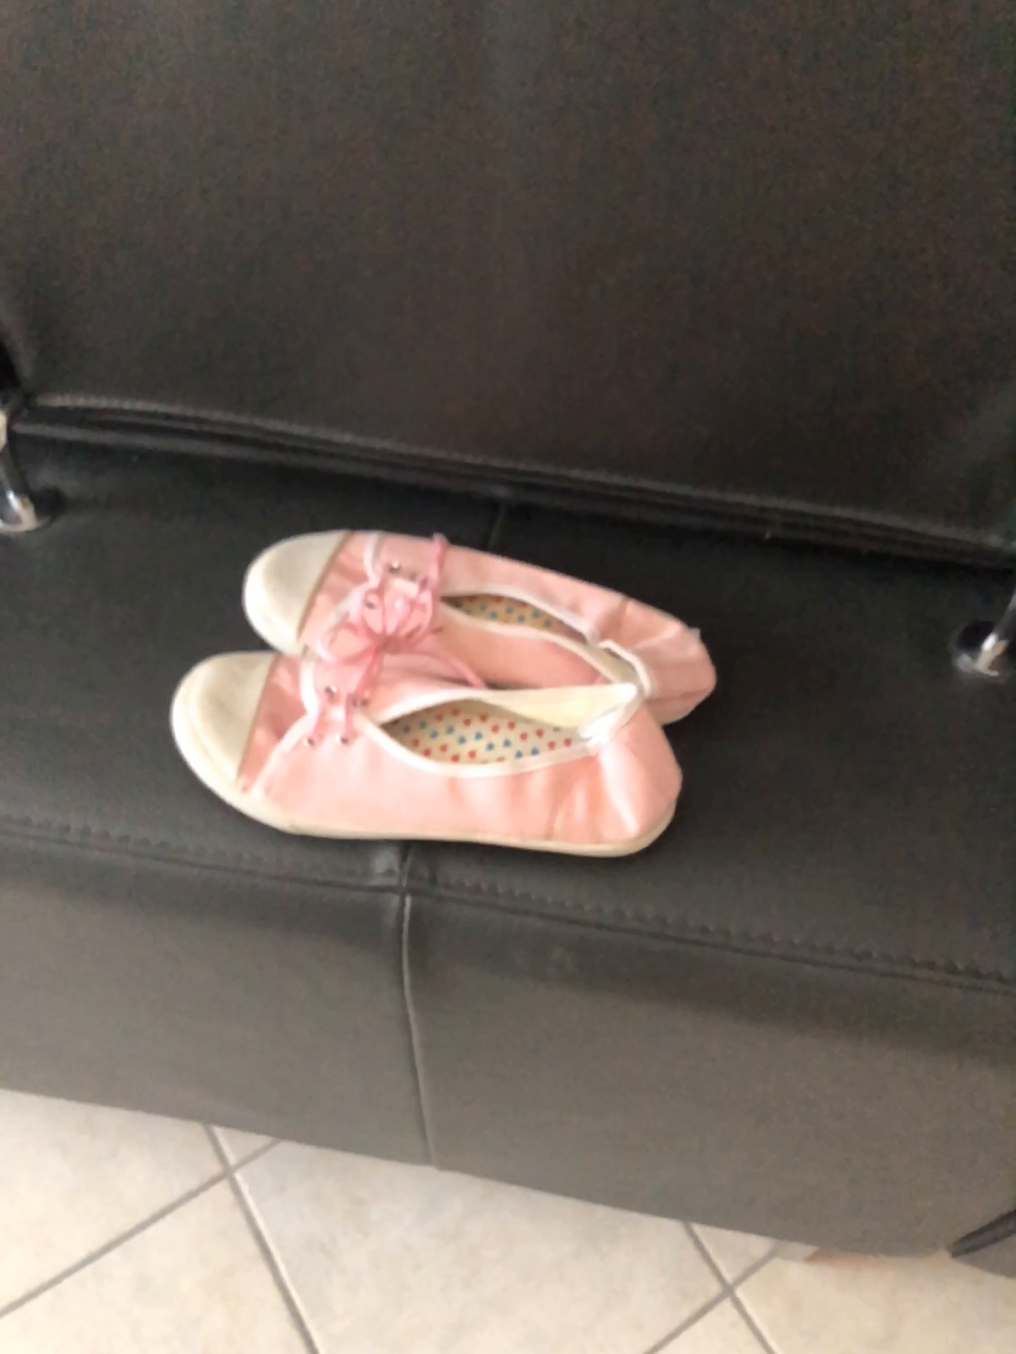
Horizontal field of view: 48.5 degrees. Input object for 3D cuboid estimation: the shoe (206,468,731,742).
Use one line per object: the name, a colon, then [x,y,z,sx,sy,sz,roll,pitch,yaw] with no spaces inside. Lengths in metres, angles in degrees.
shoe: [-0.016,-0.039,0.562,0.240,0.040,0.090,11,54,6]

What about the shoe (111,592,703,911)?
shoe: [-0.041,0.030,0.504,0.240,0.040,0.090,11,54,6]
